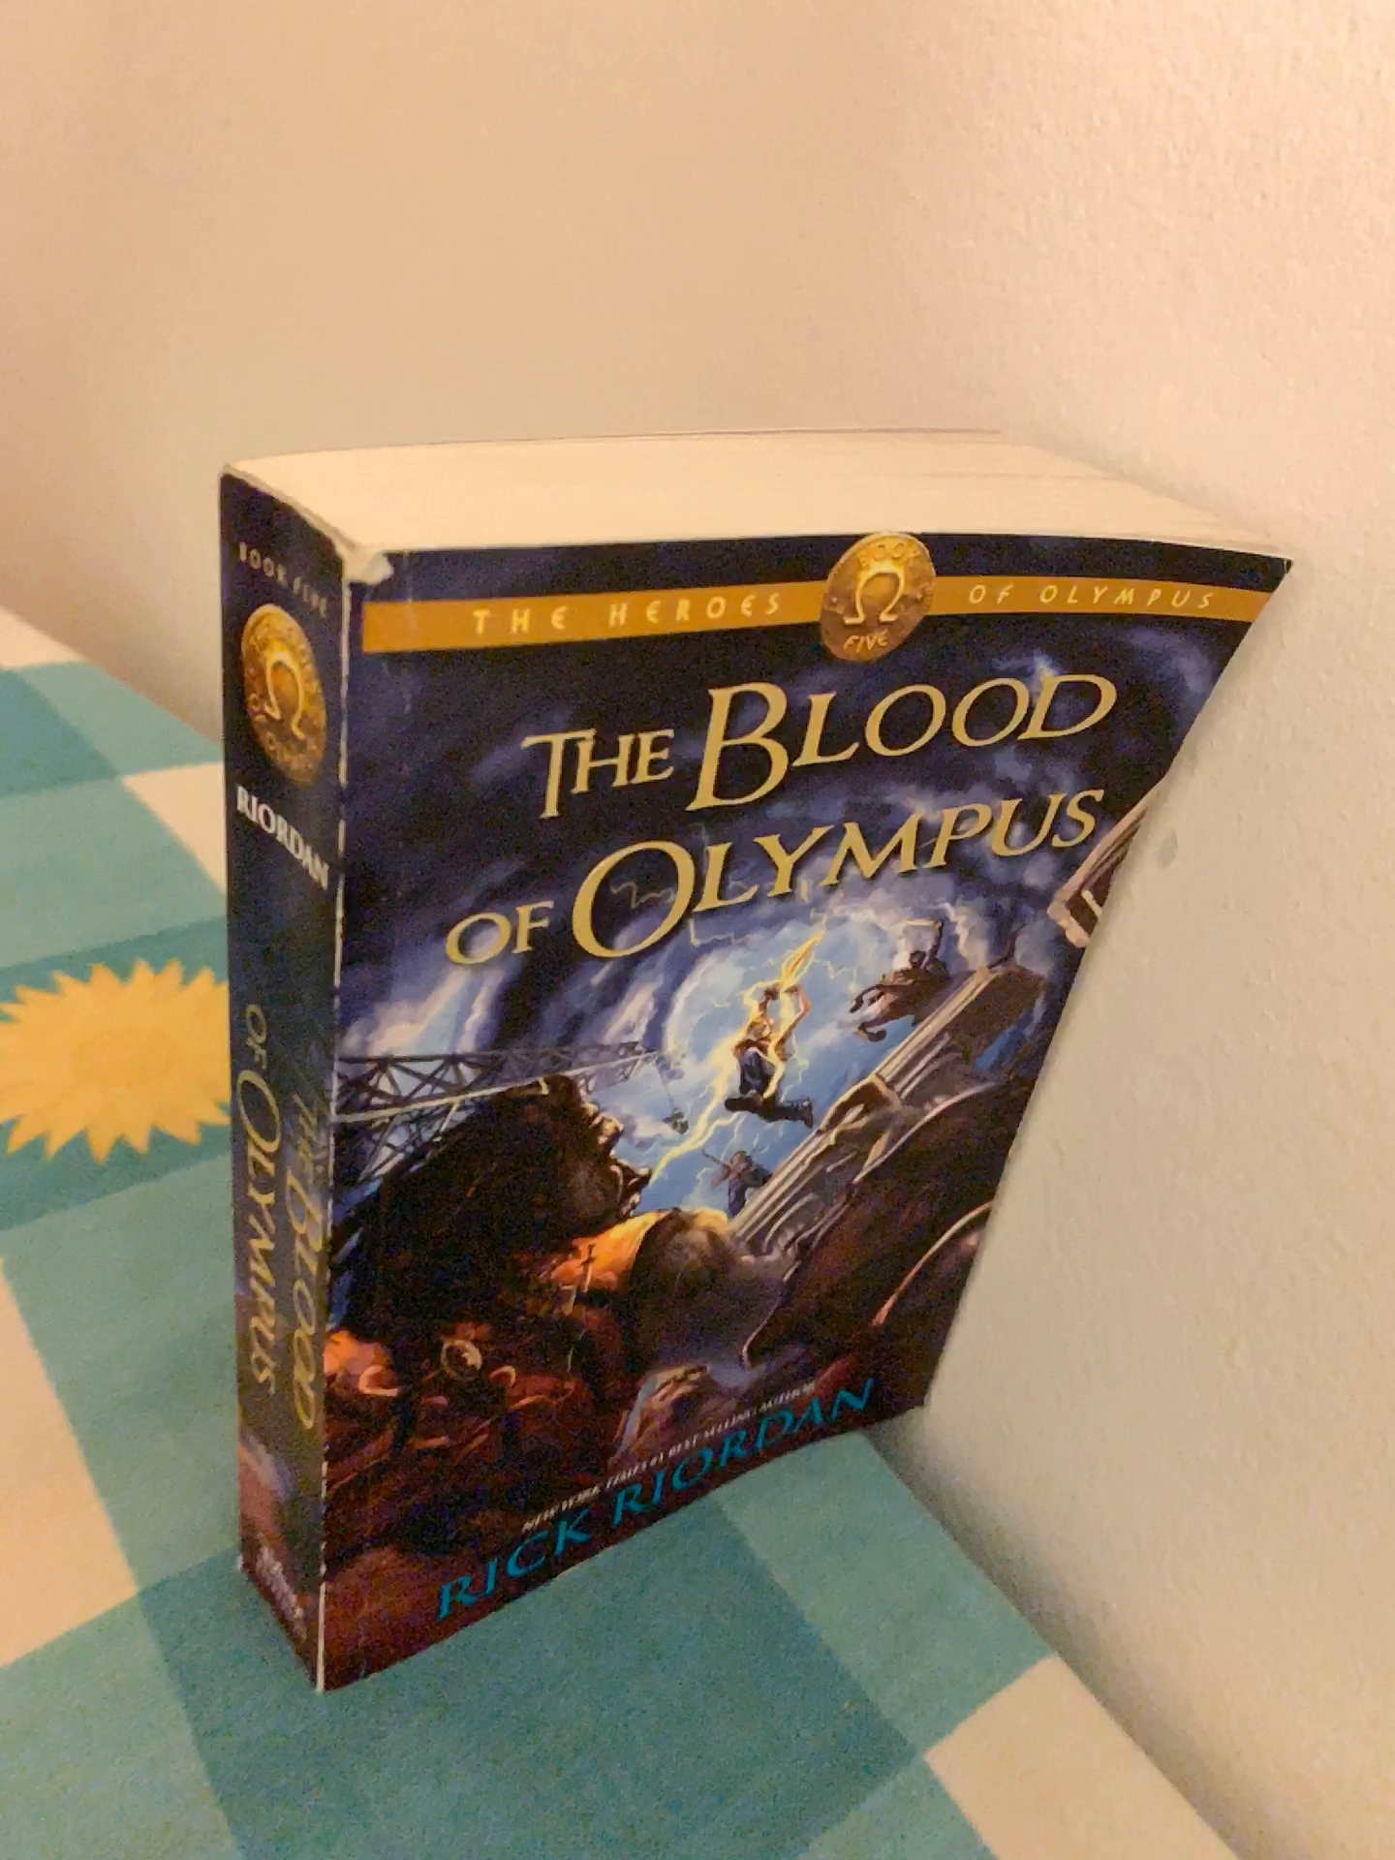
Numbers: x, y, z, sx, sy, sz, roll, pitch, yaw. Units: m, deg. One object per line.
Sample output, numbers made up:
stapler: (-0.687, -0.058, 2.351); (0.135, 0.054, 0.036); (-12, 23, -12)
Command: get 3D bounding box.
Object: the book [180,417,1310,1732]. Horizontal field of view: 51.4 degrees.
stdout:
book: (0.001, 0.018, 0.234); (0.151, 0.179, 0.051); (-12, 37, -35)
